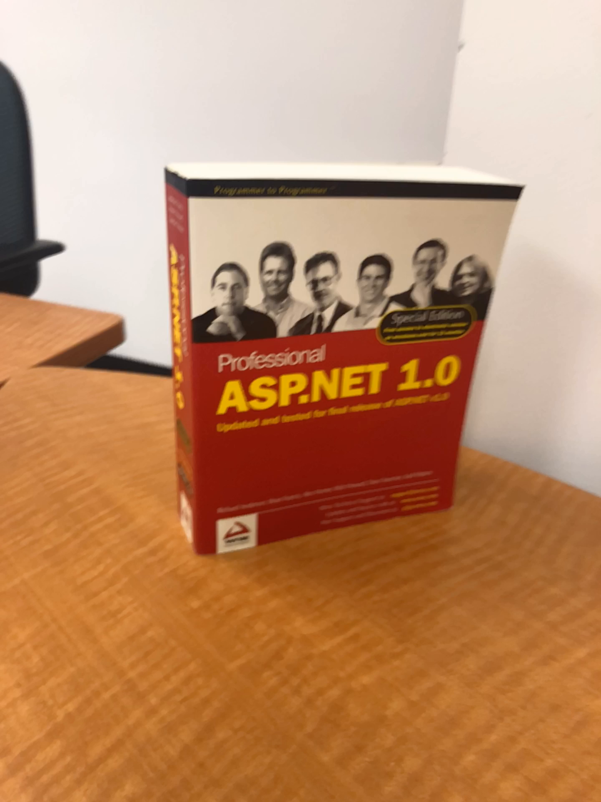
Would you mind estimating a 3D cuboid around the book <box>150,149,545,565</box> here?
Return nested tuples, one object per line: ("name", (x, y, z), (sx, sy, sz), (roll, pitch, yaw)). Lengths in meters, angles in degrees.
("book", (0.023, -0.027, 0.408), (0.210, 0.229, 0.050), (-7, 27, -20))
